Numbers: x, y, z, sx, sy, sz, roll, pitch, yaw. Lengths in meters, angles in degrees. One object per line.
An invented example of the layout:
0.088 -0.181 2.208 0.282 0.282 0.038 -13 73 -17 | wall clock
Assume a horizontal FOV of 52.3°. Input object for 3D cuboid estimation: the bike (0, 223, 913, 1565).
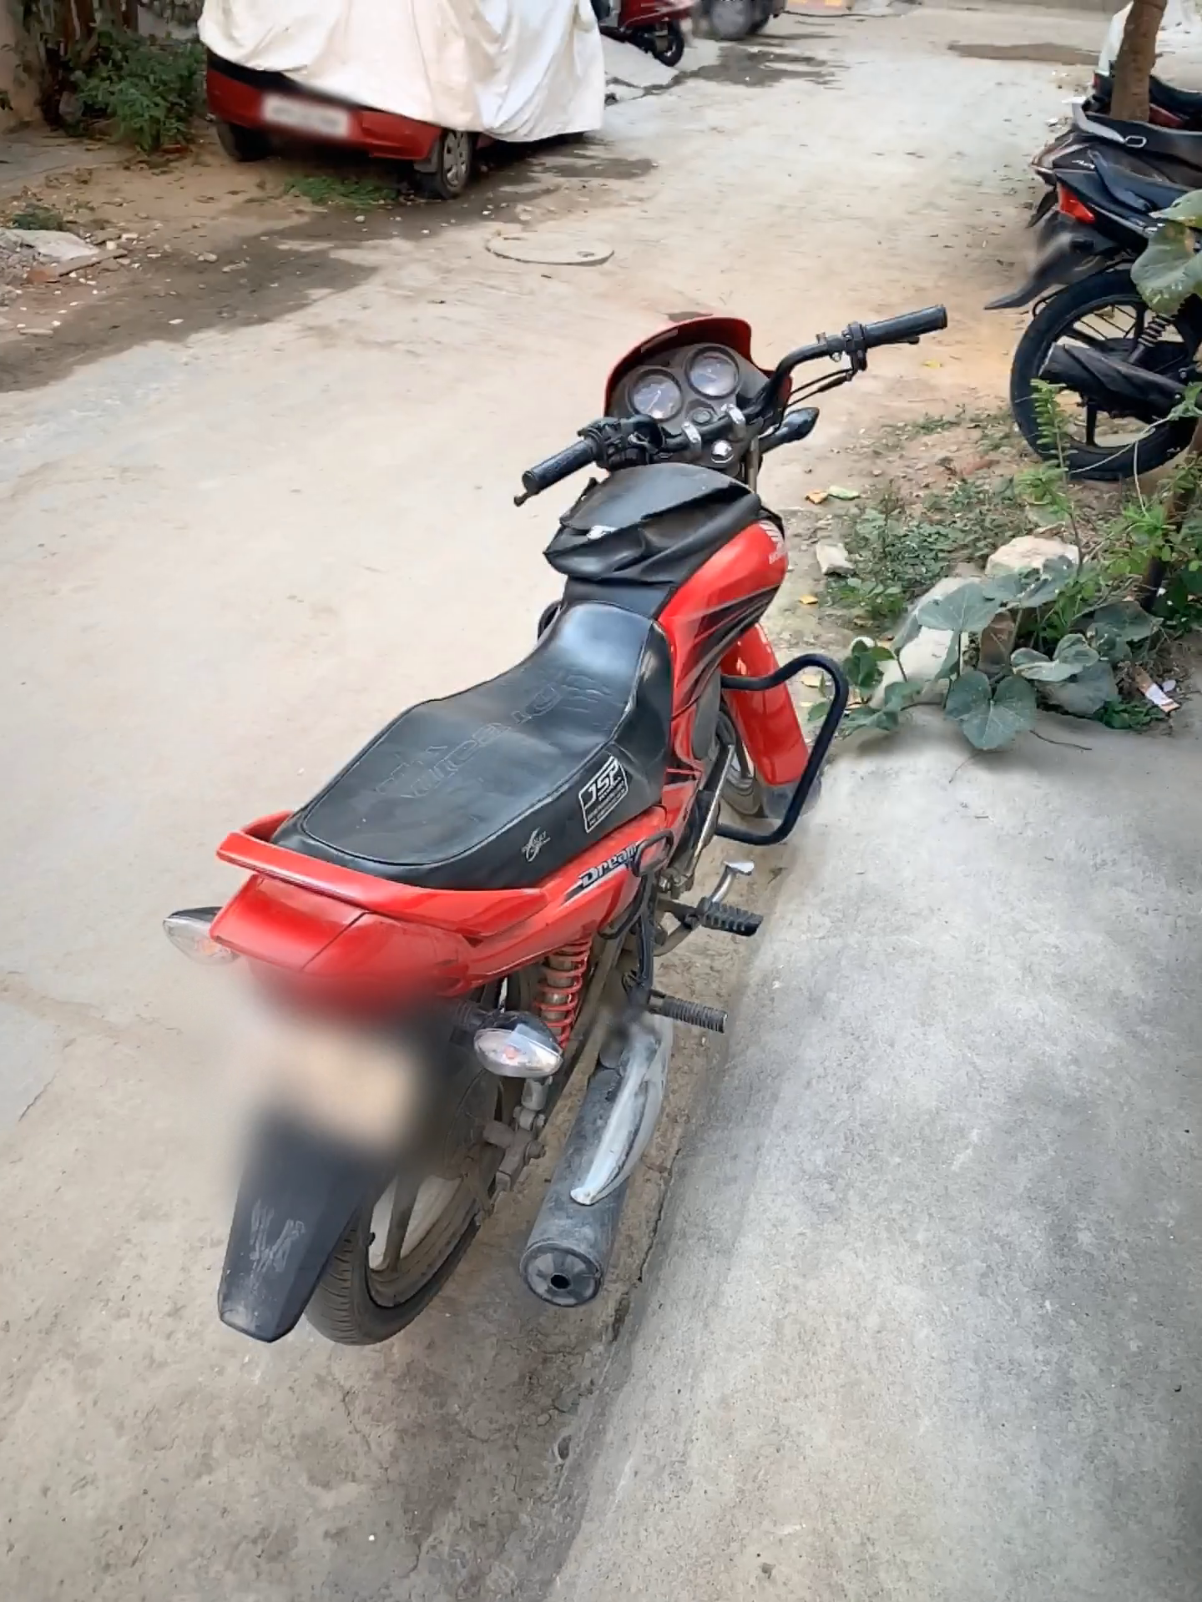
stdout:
-0.044 -0.092 1.890 0.758 1.092 1.715 12 37 10 | bike
